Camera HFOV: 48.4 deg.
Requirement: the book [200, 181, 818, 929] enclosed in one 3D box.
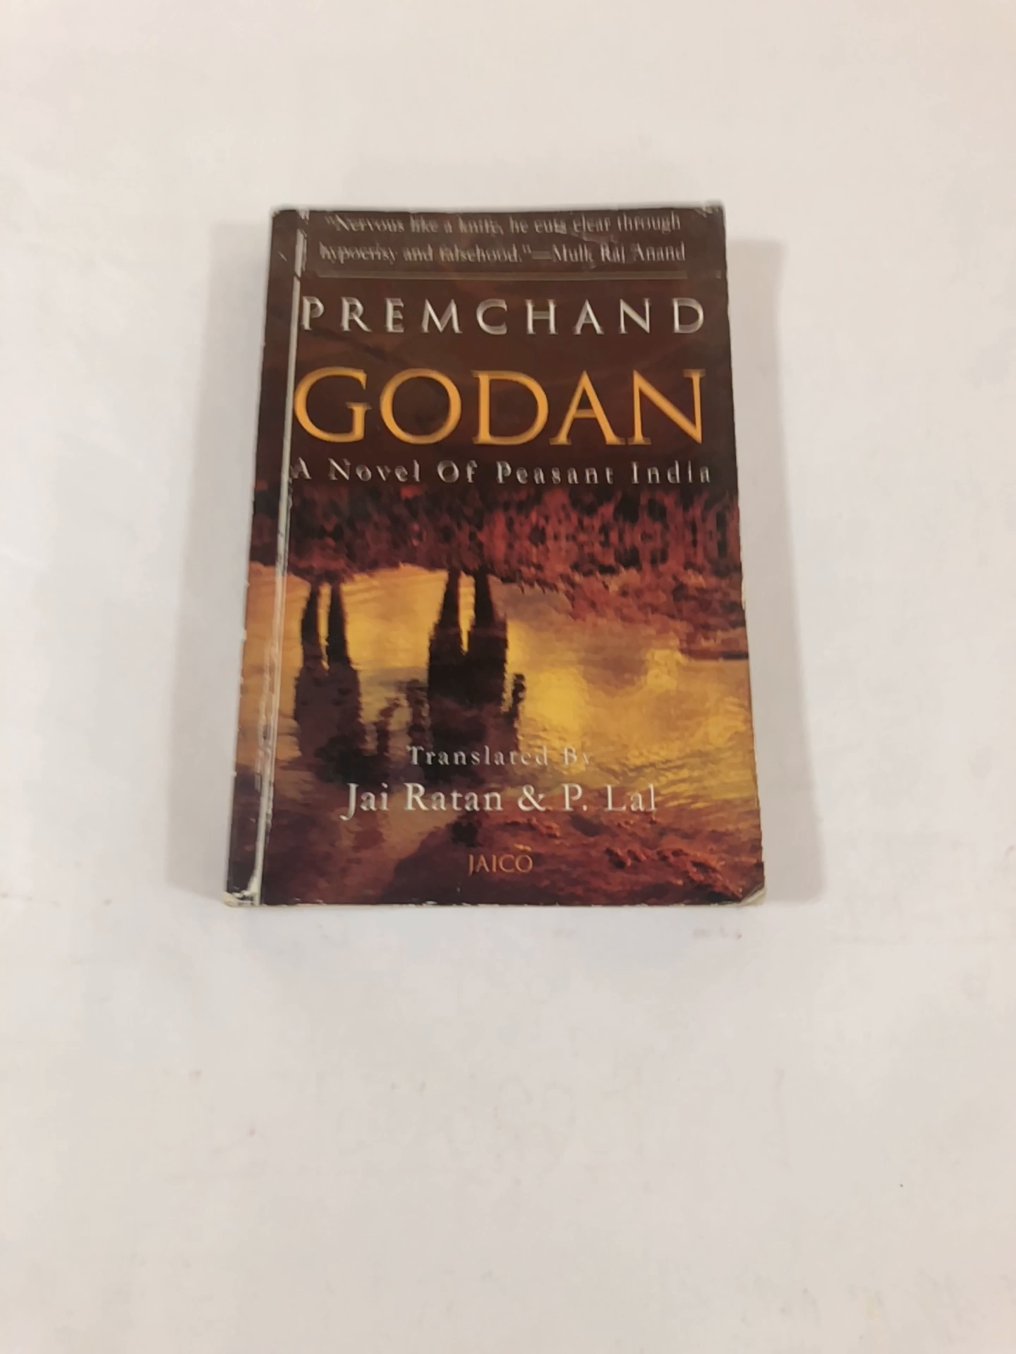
[{"bbox_3d":[0.003,-0.040,0.319,0.150,0.030,0.210,2,73,0],"label":"book"}]
